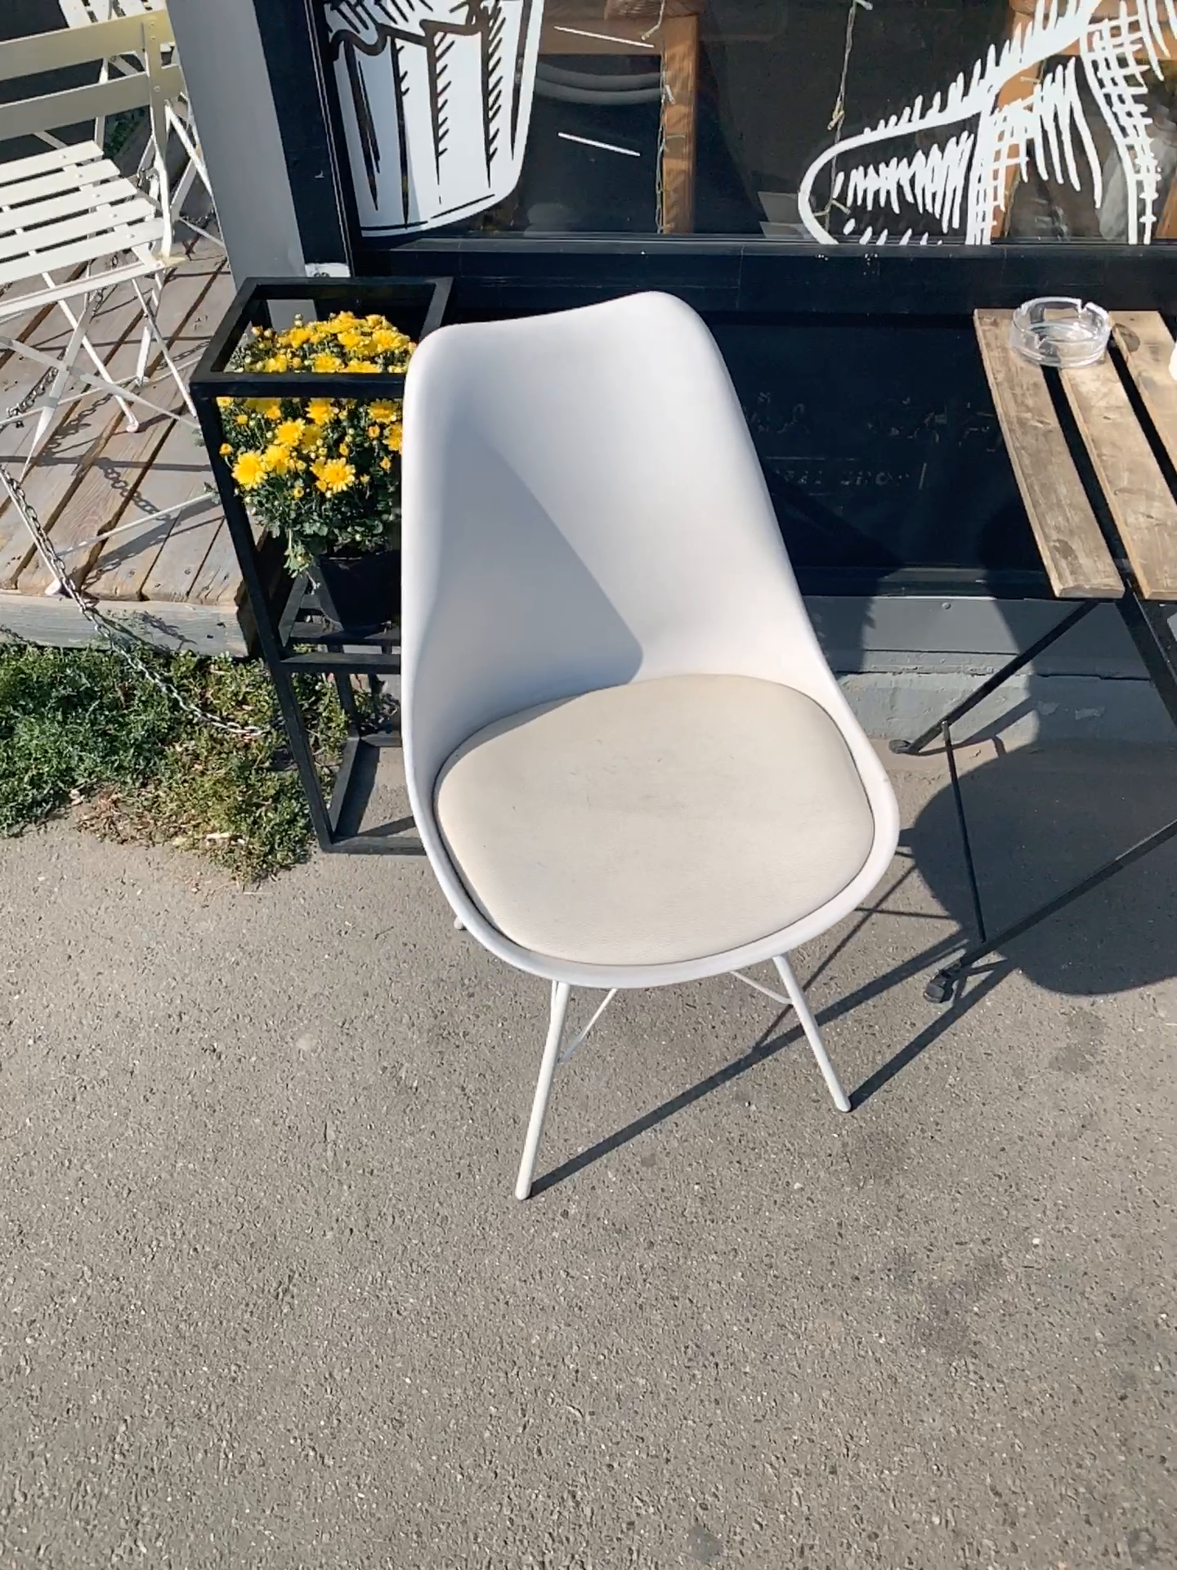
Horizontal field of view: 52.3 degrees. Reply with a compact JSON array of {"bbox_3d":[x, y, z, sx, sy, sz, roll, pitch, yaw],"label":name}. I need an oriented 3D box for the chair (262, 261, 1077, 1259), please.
[{"bbox_3d":[0.031,0.000,1.223,0.480,0.777,0.532,-15,48,-11],"label":"chair"}]
